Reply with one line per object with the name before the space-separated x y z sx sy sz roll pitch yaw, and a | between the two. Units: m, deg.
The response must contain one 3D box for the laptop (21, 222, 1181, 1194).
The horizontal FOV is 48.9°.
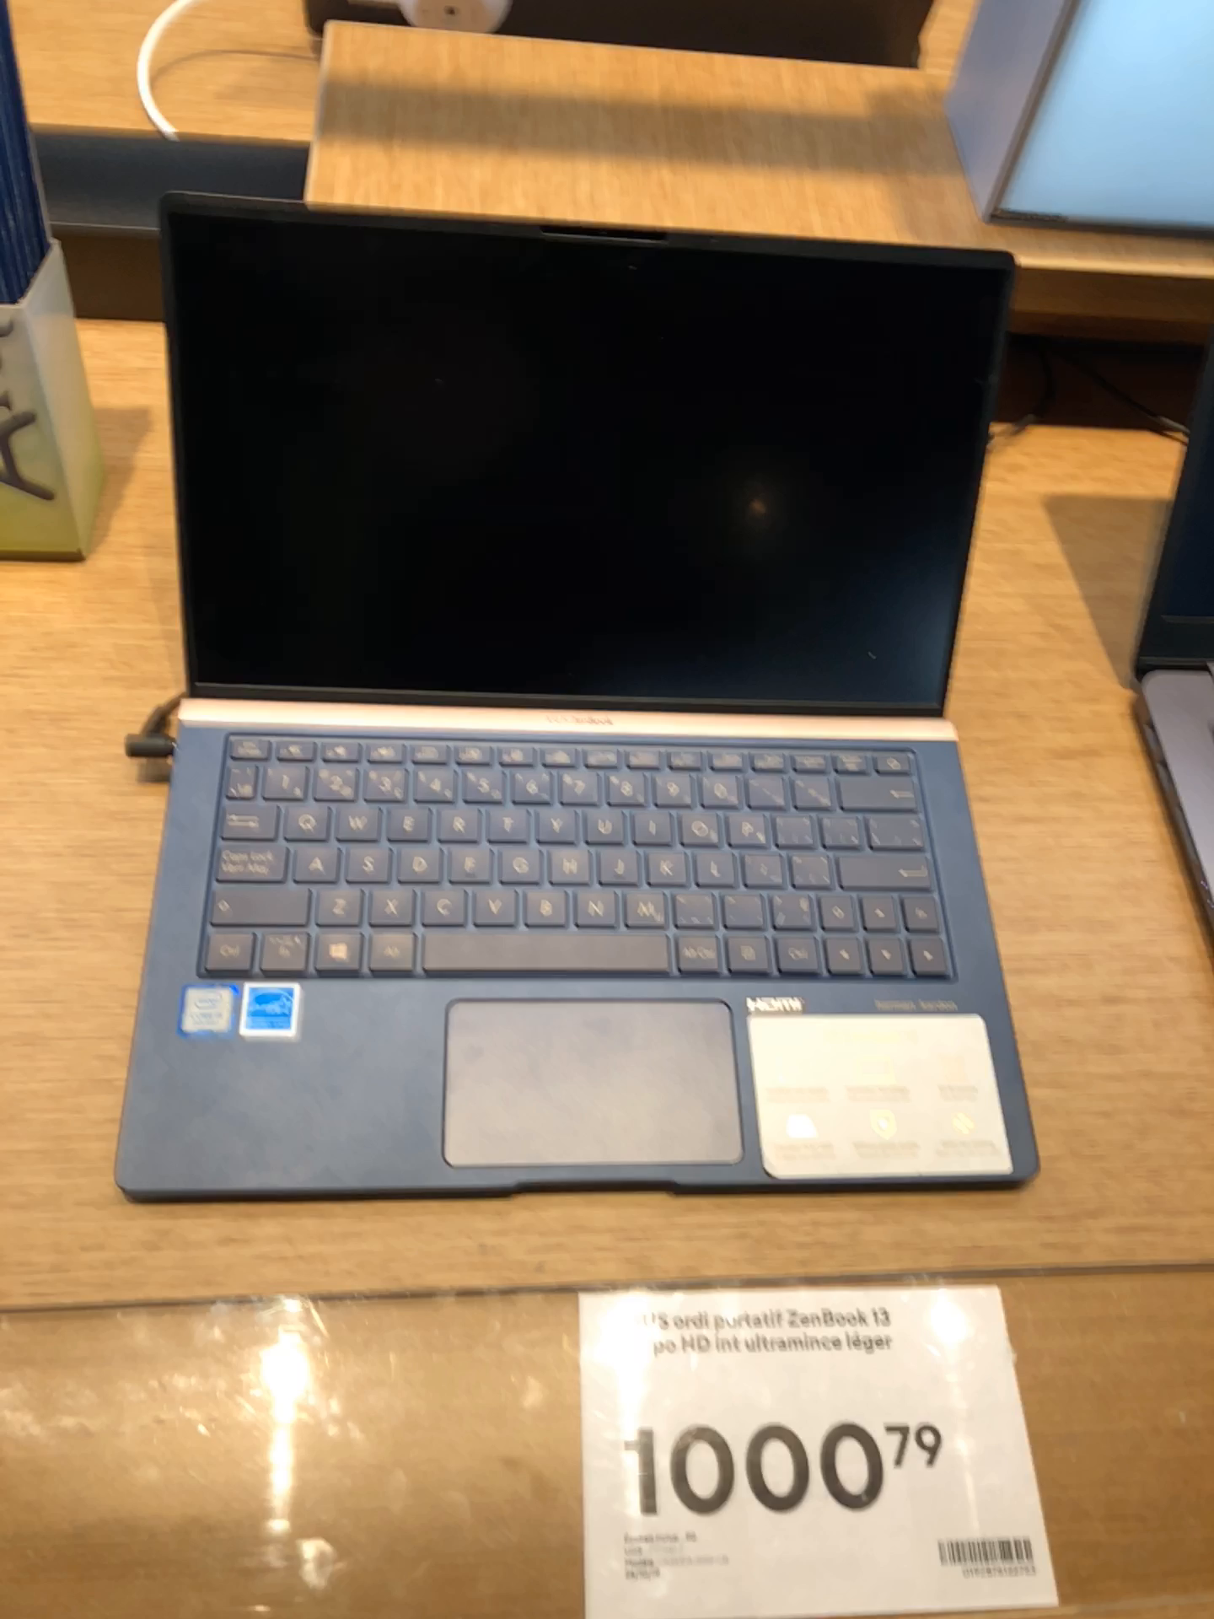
laptop | -0.003 -0.036 0.438 0.275 0.130 0.277 1 61 -5
